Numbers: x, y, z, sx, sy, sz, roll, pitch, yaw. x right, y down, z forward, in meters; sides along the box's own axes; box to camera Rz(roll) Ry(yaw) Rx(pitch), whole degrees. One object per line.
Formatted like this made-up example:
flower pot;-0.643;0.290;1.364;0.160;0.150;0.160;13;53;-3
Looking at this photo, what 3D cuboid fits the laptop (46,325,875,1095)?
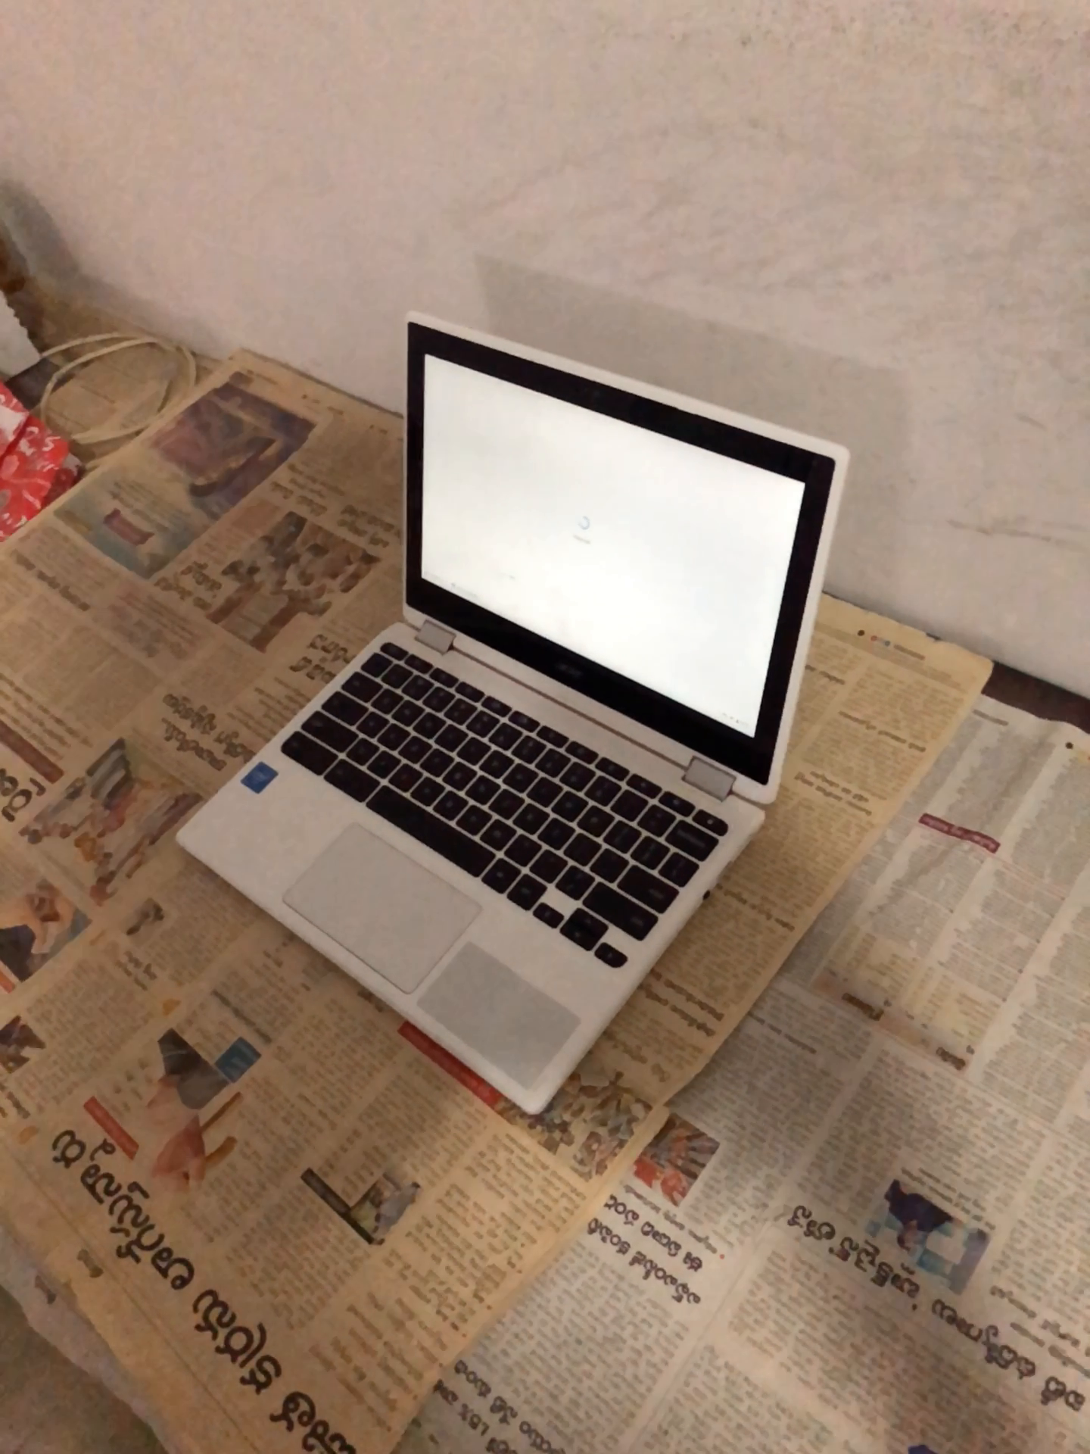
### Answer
laptop;-0.026;-0.028;0.608;0.269;0.168;0.278;28;63;31
